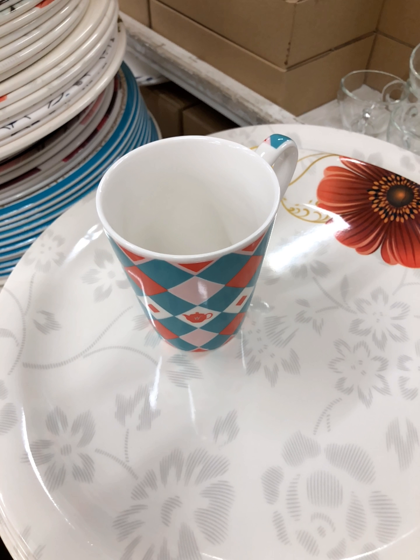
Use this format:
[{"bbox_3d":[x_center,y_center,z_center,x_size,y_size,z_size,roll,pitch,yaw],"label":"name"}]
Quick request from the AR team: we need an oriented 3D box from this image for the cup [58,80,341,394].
[{"bbox_3d":[0.001,-0.028,0.268,0.080,0.099,0.131,26,56,19],"label":"cup"}]
